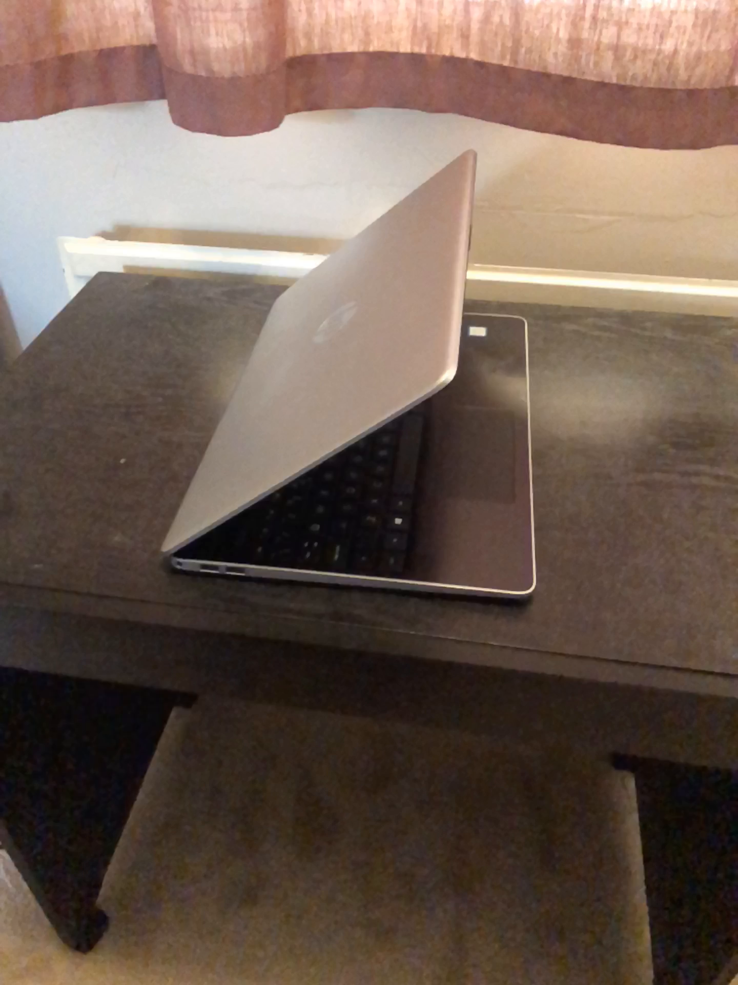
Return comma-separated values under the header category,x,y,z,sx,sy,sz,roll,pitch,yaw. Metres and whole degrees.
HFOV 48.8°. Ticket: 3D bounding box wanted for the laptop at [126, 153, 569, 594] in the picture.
category,x,y,z,sx,sy,sz,roll,pitch,yaw
laptop,0.011,-0.117,0.614,0.236,0.141,0.363,6,40,4
